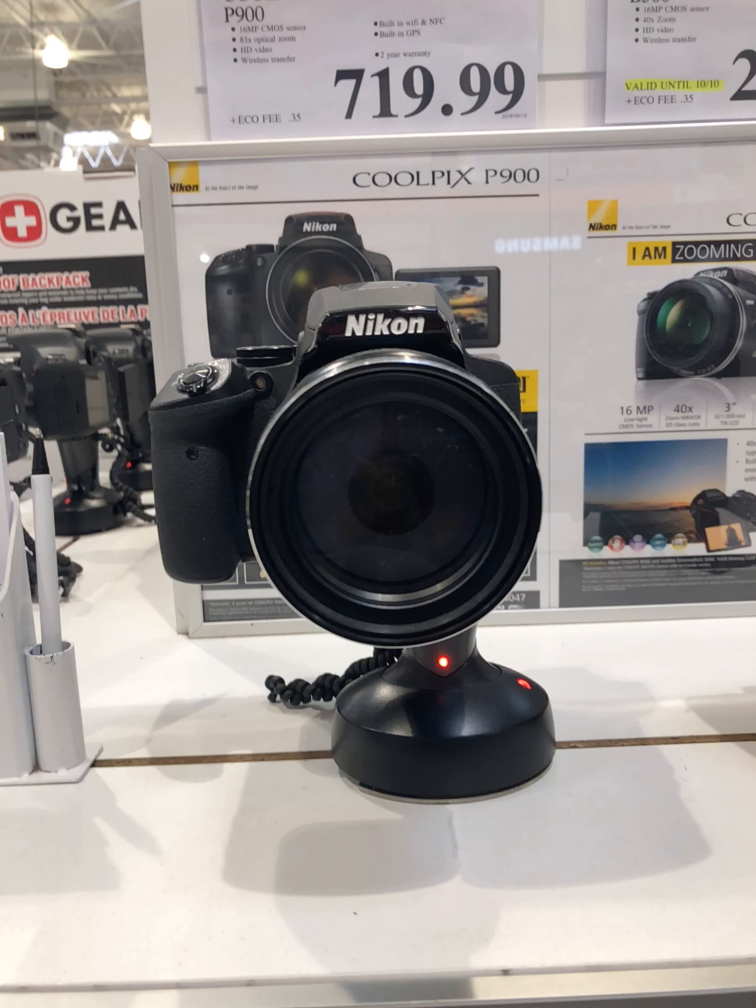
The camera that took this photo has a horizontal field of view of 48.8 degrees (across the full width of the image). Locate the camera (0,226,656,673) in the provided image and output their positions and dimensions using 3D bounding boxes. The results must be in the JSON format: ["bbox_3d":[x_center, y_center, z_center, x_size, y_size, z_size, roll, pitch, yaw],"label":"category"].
[{"bbox_3d":[-0.011,-0.025,0.264,0.150,0.100,0.140,-2,12,1],"label":"camera"}]
